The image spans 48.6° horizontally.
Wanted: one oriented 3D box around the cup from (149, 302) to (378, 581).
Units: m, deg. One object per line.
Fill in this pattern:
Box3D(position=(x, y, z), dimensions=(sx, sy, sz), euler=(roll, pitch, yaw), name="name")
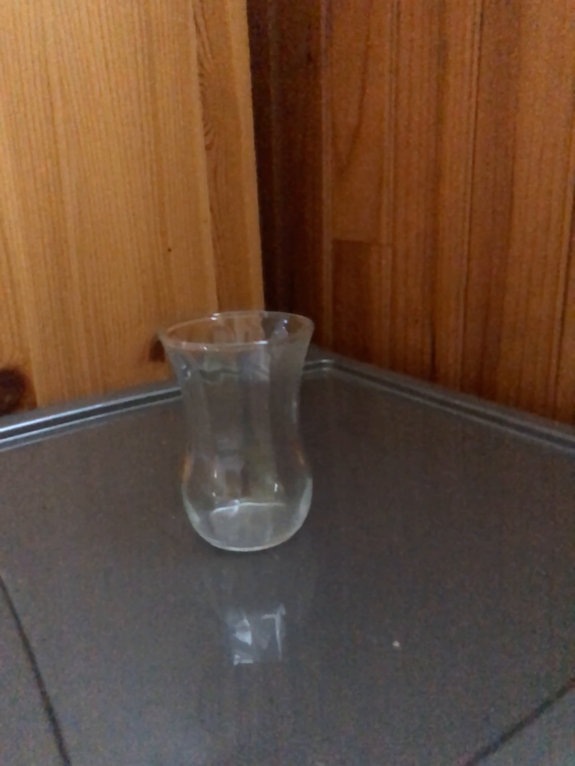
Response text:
Box3D(position=(-0.006, 0.016, 0.242), dimensions=(0.060, 0.080, 0.060), euler=(-2, 18, 1), name="cup")
